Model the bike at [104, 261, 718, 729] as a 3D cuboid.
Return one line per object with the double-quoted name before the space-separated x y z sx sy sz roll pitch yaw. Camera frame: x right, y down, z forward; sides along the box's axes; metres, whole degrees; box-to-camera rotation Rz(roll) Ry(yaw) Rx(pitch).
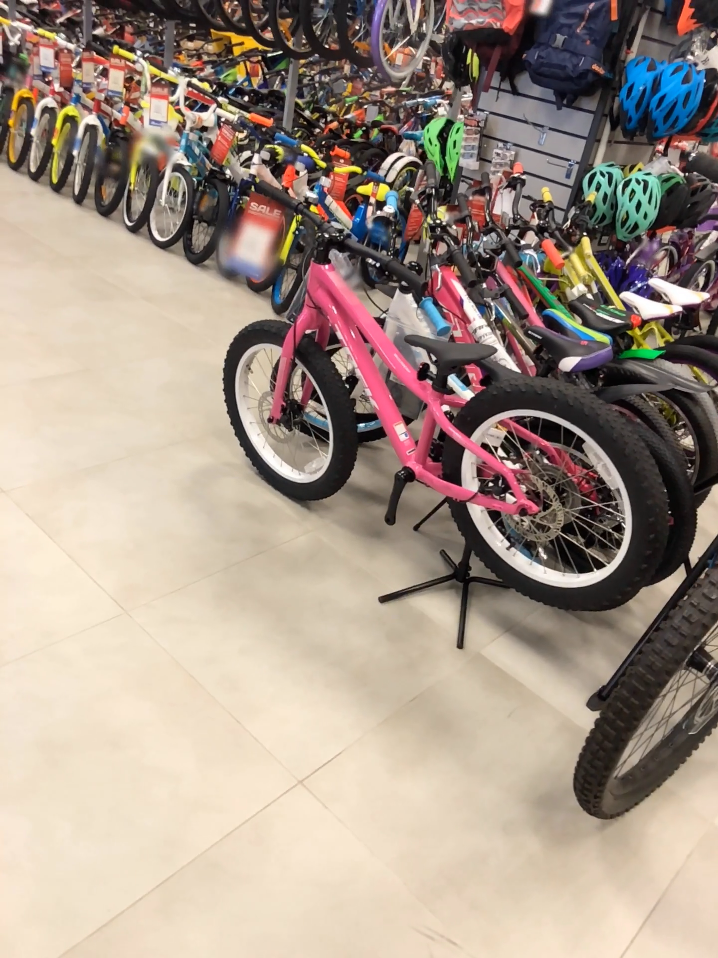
"bike" 0.019 -0.089 1.894 1.336 0.668 0.572 26 31 37
